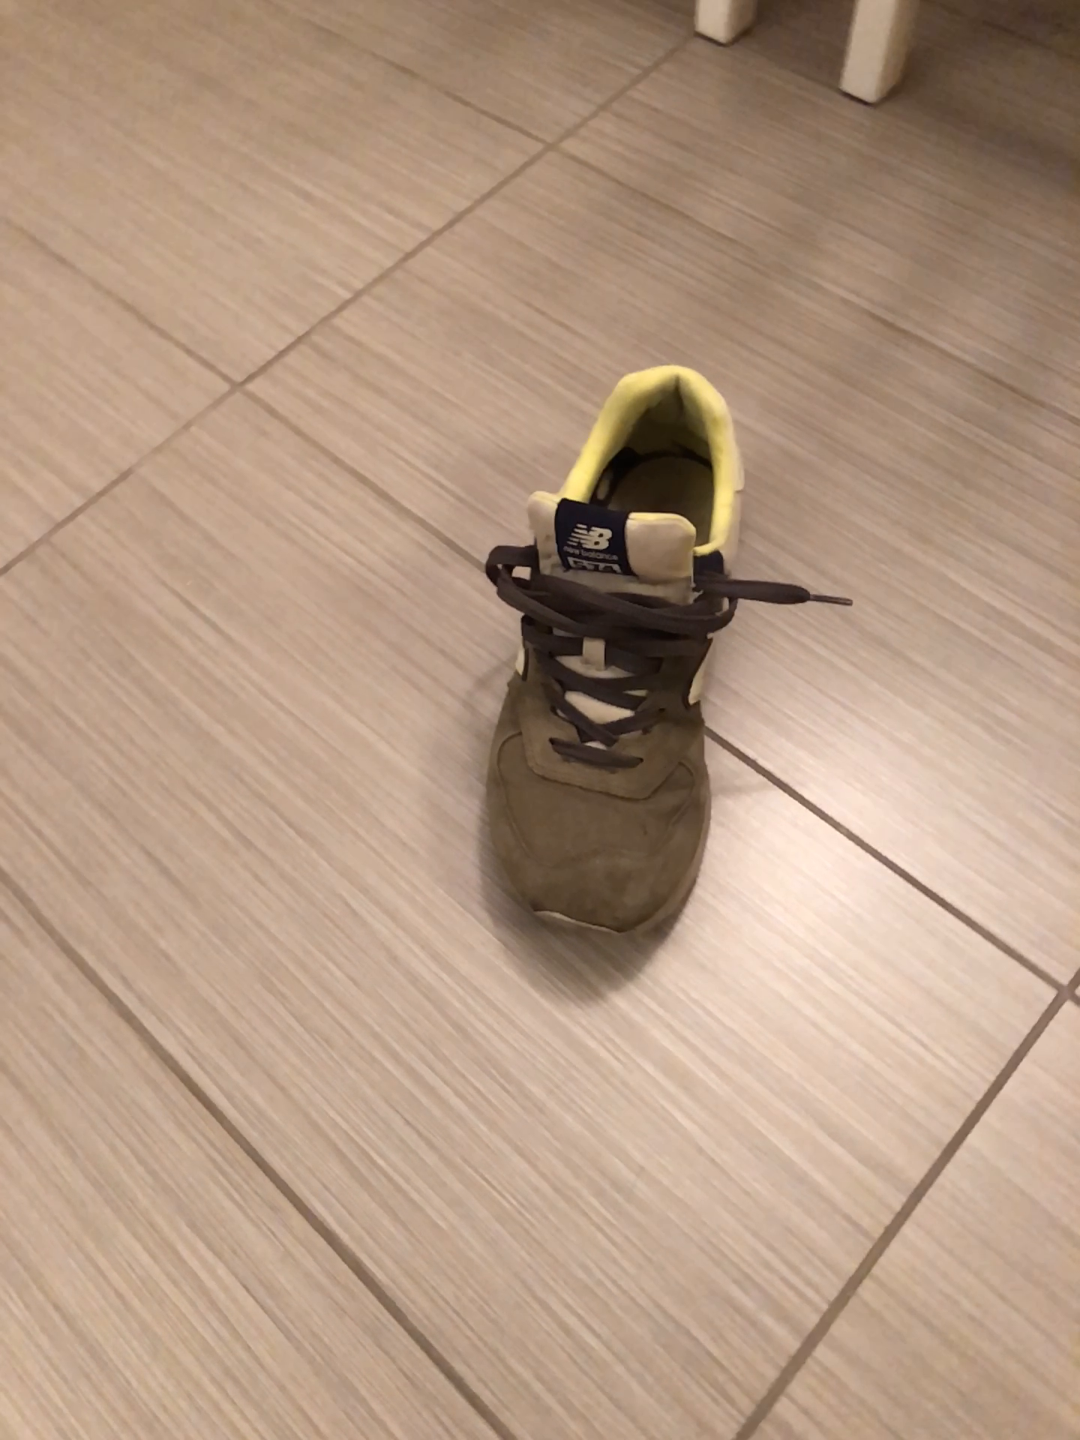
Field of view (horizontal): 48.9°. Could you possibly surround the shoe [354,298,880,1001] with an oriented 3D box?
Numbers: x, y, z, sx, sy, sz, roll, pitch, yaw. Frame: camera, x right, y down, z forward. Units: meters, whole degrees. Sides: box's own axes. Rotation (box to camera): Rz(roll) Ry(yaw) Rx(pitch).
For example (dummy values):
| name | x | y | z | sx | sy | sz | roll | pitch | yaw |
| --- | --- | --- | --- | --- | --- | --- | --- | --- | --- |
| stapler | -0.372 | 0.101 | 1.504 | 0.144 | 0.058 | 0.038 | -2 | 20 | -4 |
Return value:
| name | x | y | z | sx | sy | sz | roll | pitch | yaw |
| --- | --- | --- | --- | --- | --- | --- | --- | --- | --- |
| shoe | 0.050 | -0.045 | 0.578 | 0.130 | 0.110 | 0.311 | 18 | 64 | 16 |
